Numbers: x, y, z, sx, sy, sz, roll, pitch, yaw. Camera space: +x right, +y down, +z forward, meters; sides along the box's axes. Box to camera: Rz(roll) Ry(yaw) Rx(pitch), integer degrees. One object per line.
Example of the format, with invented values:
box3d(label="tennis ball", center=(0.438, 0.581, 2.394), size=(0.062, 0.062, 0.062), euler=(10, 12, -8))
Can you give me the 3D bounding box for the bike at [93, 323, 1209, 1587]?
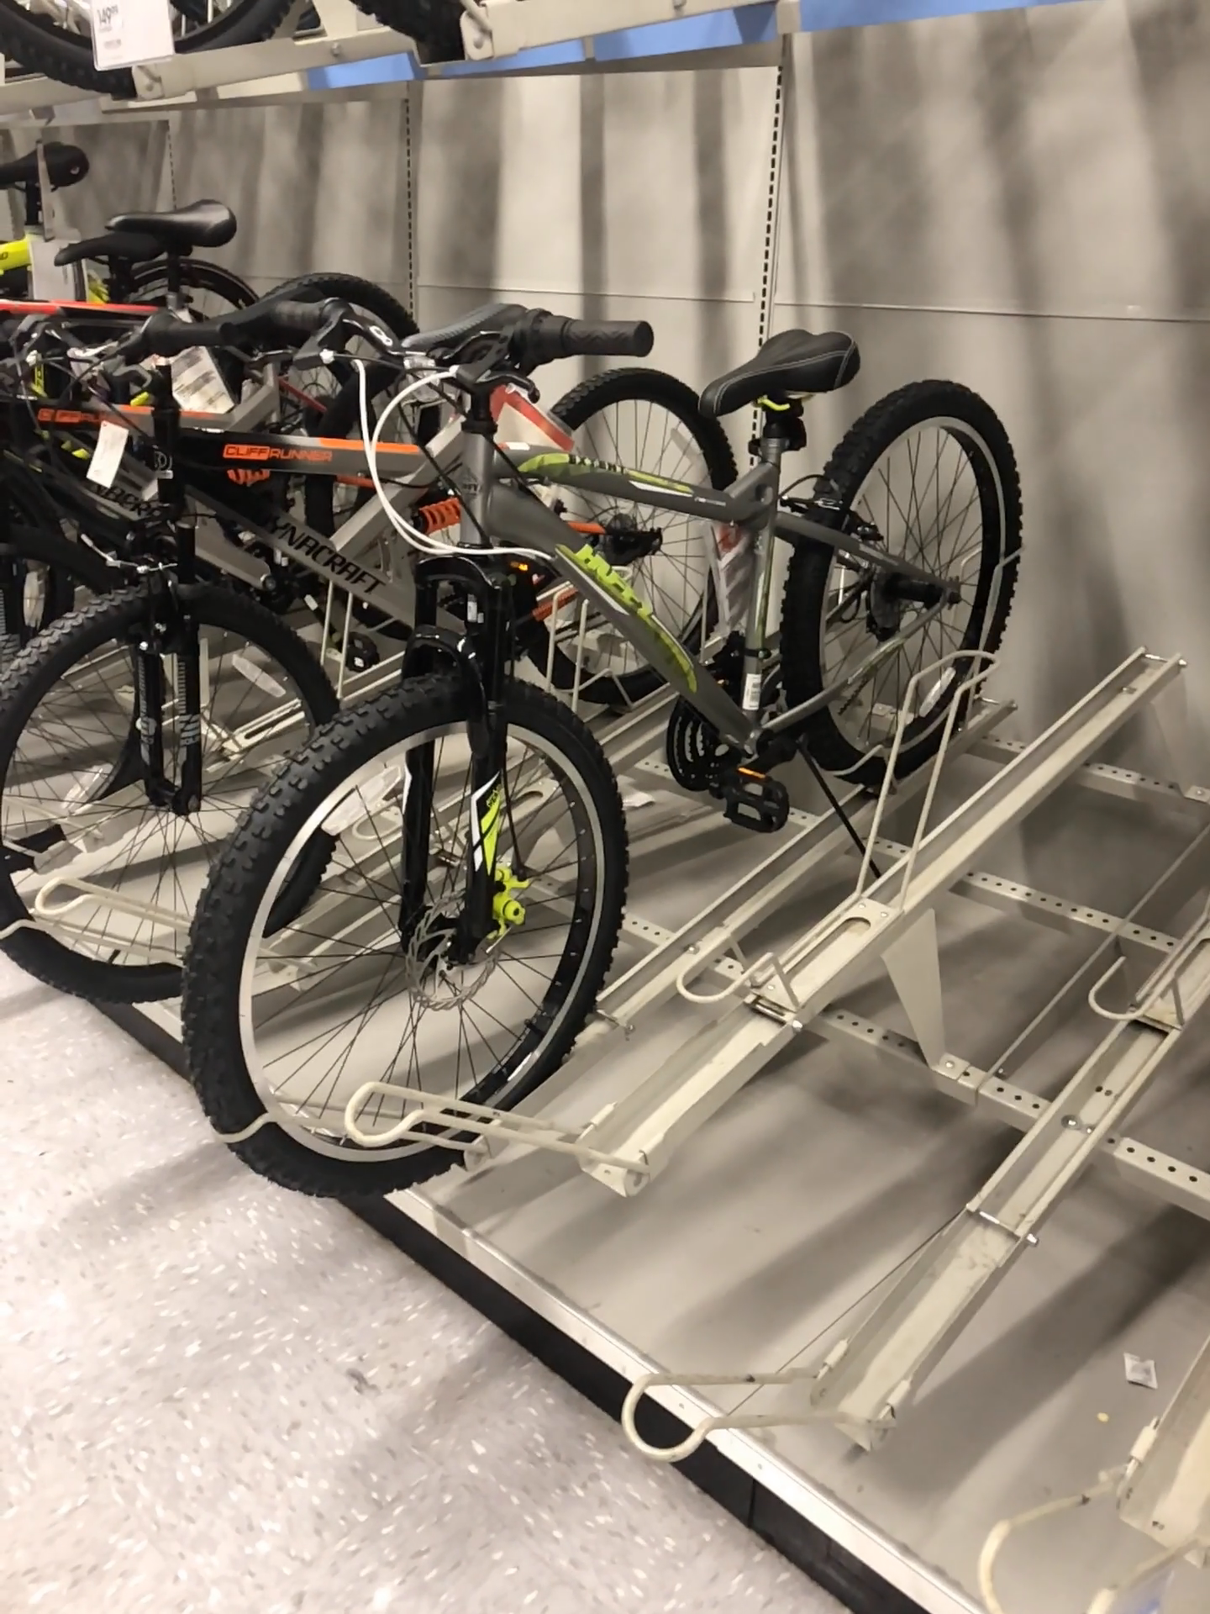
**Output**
box3d(label="bike", center=(0.211, -0.058, 1.880), size=(0.609, 0.729, 1.721), euler=(21, 40, 41))
